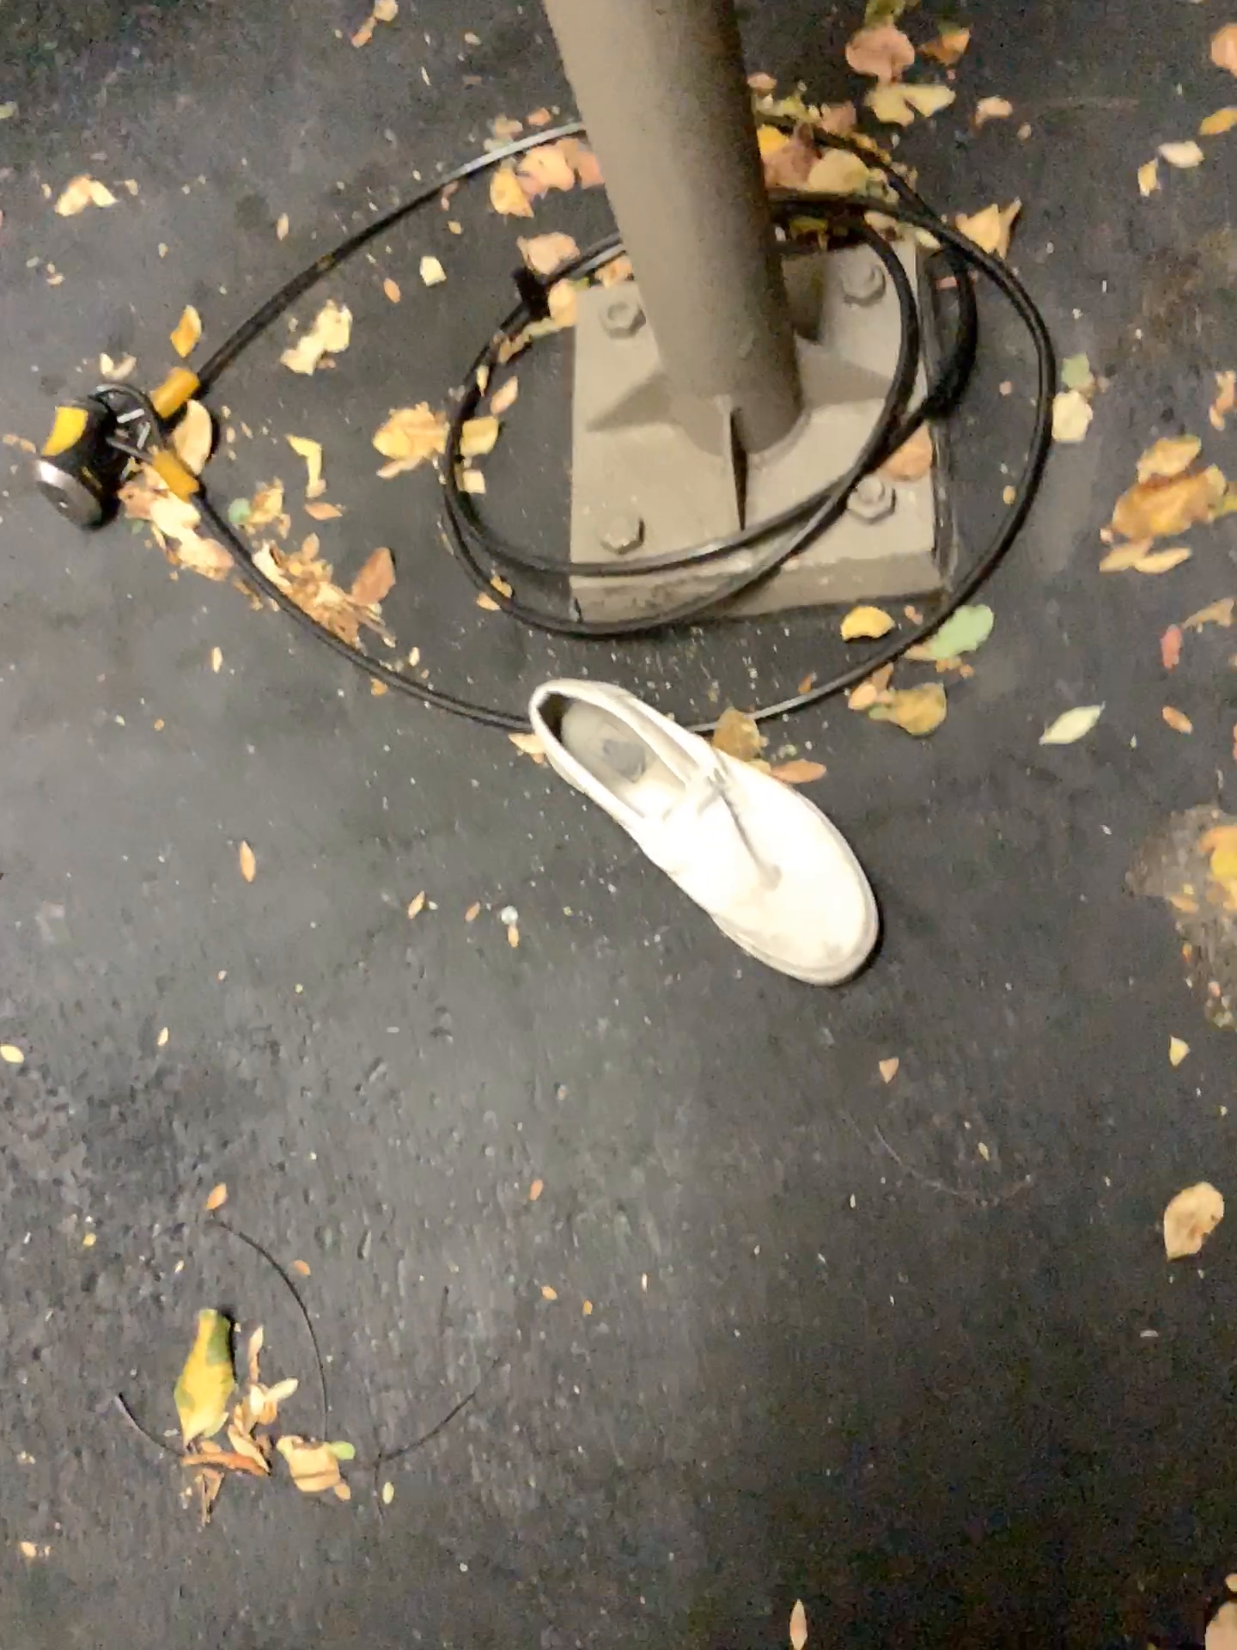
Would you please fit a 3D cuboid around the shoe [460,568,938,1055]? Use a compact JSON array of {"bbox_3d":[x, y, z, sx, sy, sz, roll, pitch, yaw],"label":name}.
[{"bbox_3d":[0.050,-0.012,0.897,0.120,0.100,0.310,-43,67,-3],"label":"shoe"}]
